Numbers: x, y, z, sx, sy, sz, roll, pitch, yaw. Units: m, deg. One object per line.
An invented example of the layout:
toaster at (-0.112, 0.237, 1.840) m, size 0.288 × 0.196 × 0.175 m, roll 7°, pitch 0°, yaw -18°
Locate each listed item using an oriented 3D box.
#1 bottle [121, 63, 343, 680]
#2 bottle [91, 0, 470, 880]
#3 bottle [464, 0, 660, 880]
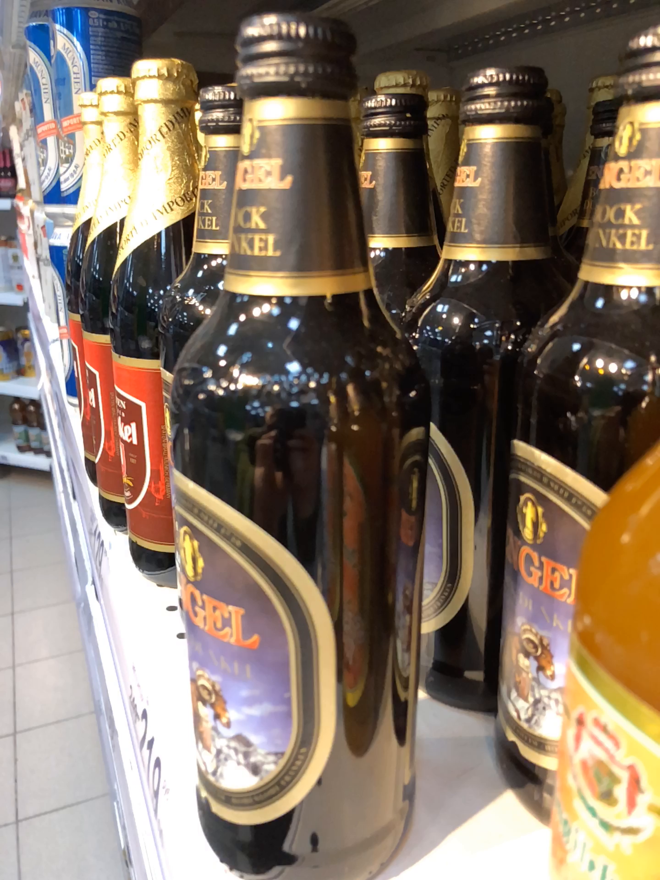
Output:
bottle at (-0.039, -0.025, 0.312) m, size 0.061 × 0.233 × 0.070 m, roll -10°, pitch 21°, yaw -26°
bottle at (-0.014, 0.011, 0.198) m, size 0.061 × 0.229 × 0.070 m, roll -10°, pitch 21°, yaw -26°
bottle at (0.094, 0.007, 0.214) m, size 0.070 × 0.233 × 0.069 m, roll -1°, pitch 19°, yaw 0°
